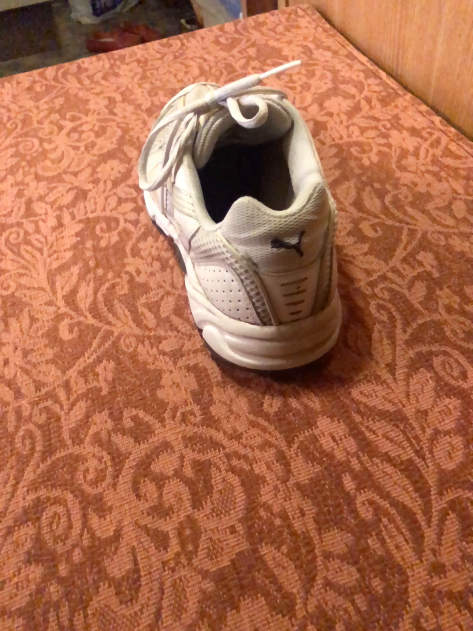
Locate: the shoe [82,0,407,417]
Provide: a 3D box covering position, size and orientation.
[{"bbox_3d":[-0.019,-0.098,0.336,0.120,0.100,0.291,-14,48,-5],"label":"shoe"}]
